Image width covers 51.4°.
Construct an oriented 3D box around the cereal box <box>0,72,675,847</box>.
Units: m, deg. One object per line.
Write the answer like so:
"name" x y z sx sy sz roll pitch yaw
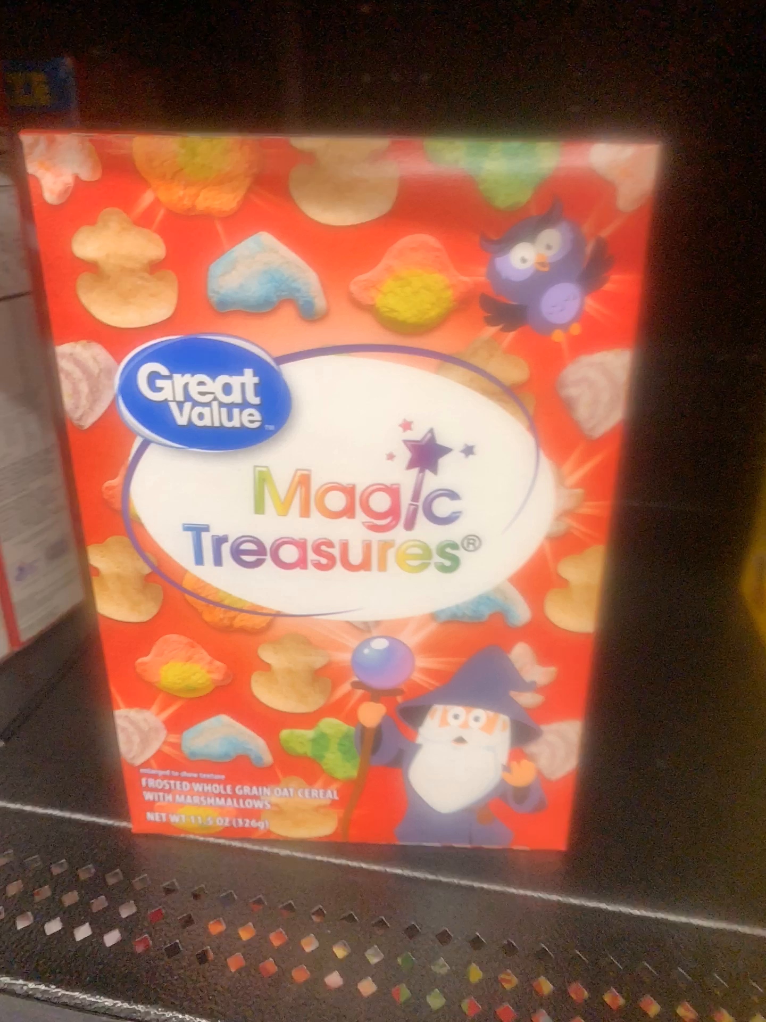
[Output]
"cereal box" -0.016 -0.009 0.312 0.200 0.279 0.070 1 21 3
